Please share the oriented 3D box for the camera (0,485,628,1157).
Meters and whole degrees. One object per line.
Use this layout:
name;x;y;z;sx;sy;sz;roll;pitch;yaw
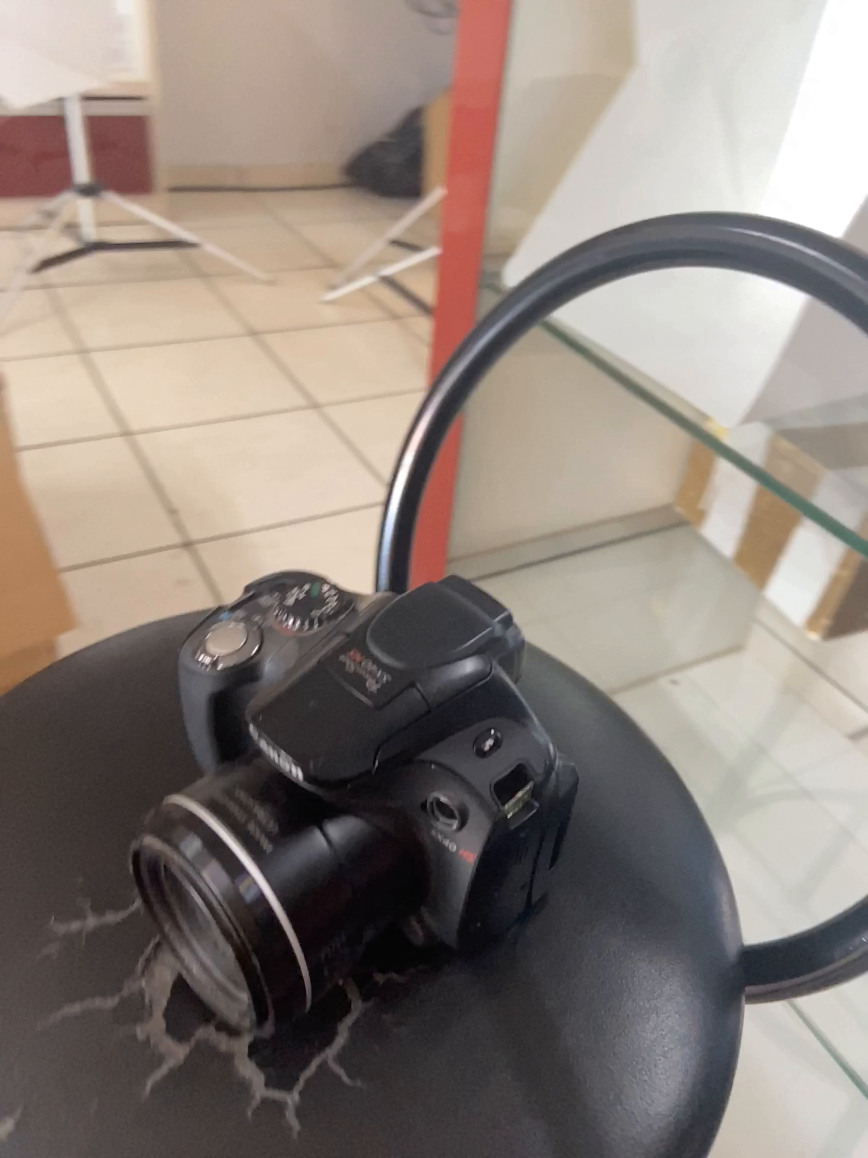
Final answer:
camera;-0.034;0.054;0.254;0.120;0.089;0.111;30;43;29
